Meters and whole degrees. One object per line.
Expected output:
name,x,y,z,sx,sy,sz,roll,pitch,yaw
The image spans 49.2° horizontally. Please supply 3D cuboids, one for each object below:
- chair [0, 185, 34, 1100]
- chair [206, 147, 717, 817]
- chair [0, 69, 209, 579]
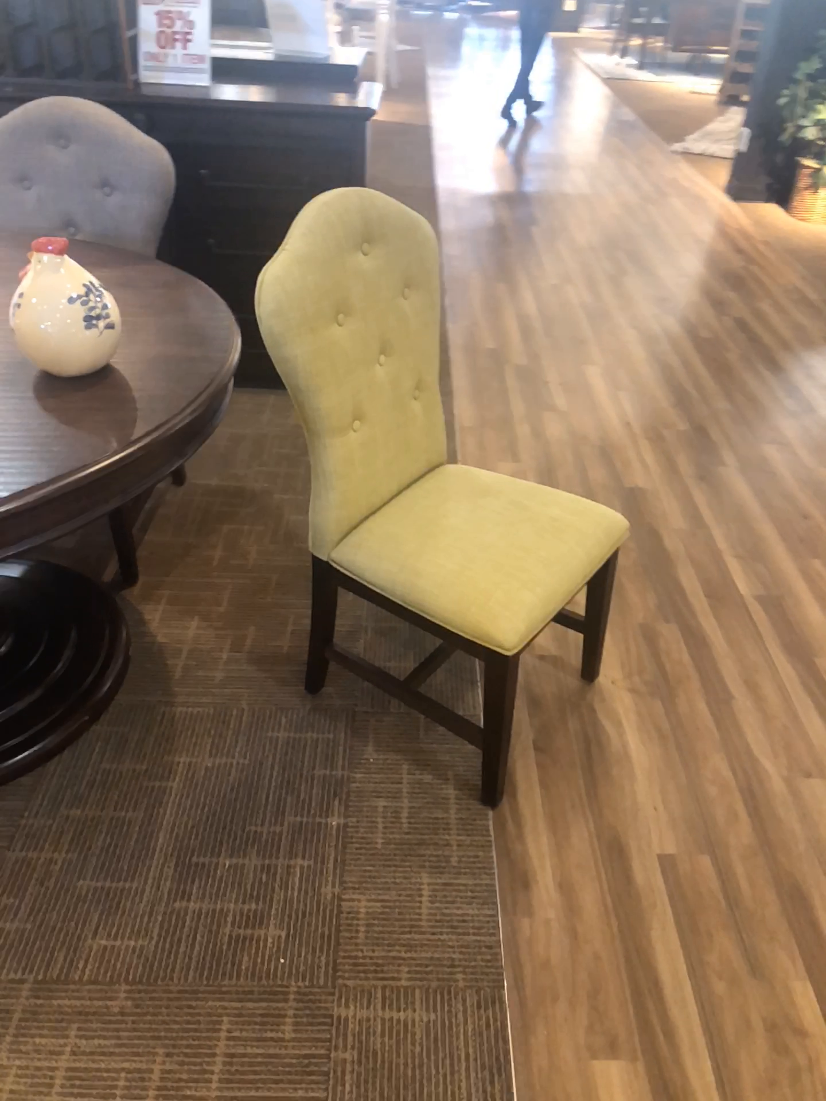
chair,-0.947,0.140,1.125,0.518,0.960,0.578,6,36,4
chair,0.069,-0.140,1.702,0.615,0.980,0.541,23,40,25
chair,-0.845,-0.525,2.104,0.508,0.950,0.638,4,36,1
